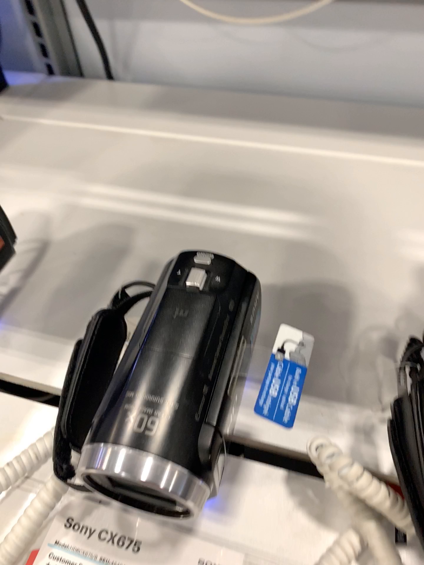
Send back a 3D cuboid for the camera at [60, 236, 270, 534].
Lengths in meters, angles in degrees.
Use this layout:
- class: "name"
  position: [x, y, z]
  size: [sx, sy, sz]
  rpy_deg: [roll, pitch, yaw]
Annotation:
- class: "camera"
  position: [-0.011, 0.042, 0.207]
  size: [0.053, 0.060, 0.113]
  rpy_deg: [10, 51, 12]
